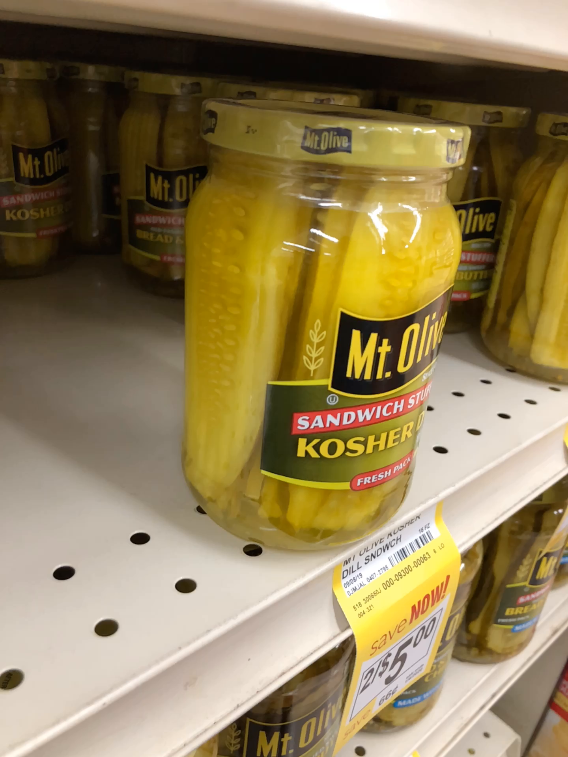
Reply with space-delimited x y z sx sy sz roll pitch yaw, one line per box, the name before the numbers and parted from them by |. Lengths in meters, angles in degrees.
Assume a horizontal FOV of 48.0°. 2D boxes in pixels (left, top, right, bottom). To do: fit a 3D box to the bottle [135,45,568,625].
bottle | 0.017 -0.019 0.191 0.090 0.130 0.080 -14 35 -36
